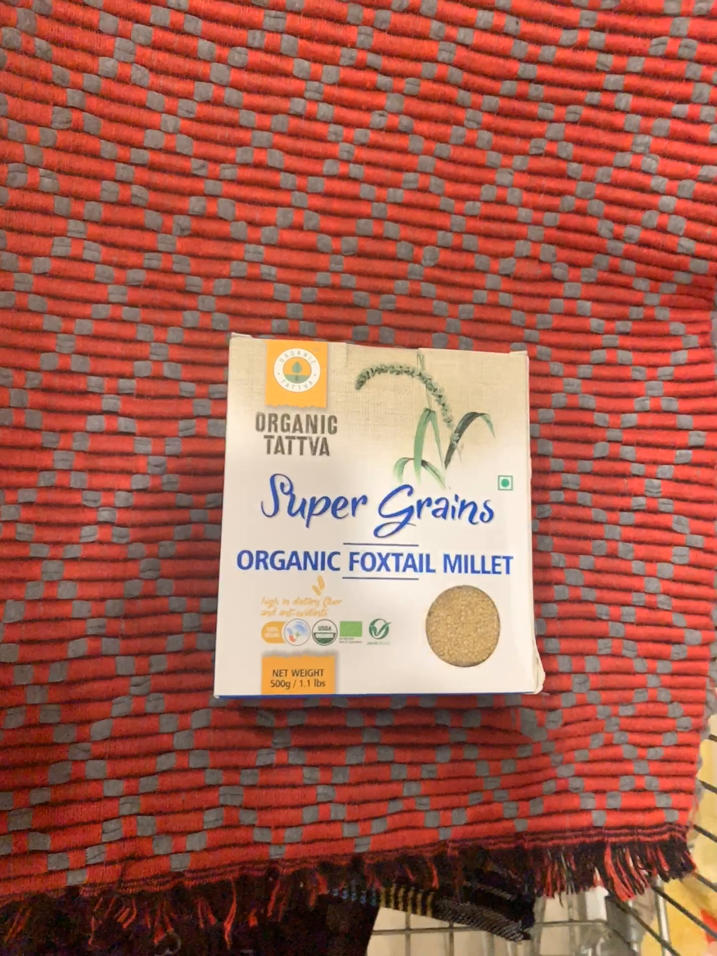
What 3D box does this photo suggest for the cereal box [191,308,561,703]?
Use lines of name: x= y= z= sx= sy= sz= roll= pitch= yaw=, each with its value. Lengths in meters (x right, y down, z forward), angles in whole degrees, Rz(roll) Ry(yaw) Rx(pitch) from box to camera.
cereal box: x=0.005 y=0.014 z=0.319 sx=0.140 sy=0.060 sz=0.150 roll=2 pitch=81 yaw=-8
